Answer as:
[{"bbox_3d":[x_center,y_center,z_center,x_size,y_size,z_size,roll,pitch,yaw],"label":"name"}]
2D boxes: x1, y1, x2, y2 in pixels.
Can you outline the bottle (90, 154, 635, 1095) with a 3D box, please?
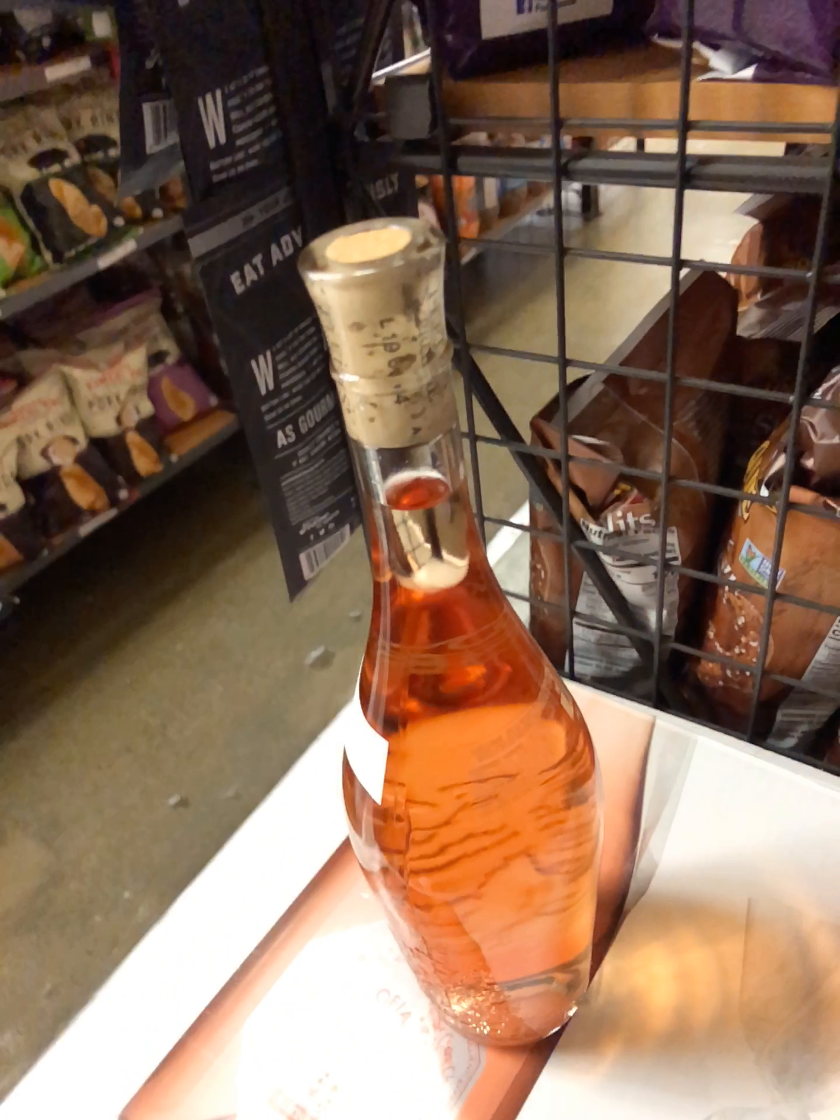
[{"bbox_3d":[0.008,0.043,0.289,0.090,0.299,0.080,11,42,24],"label":"bottle"}]
